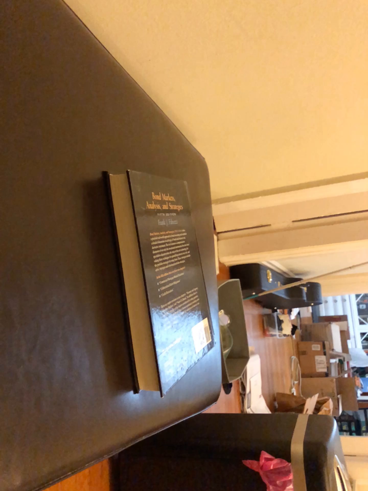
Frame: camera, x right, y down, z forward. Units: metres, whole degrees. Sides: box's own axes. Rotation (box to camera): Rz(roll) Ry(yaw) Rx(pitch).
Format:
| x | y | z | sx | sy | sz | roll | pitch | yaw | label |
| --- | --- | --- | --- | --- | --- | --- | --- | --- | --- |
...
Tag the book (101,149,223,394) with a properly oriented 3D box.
| x | y | z | sx | sy | sz | roll | pitch | yaw | label |
| --- | --- | --- | --- | --- | --- | --- | --- | --- | --- |
| -0.015 | 0.023 | 0.525 | 0.201 | 0.040 | 0.260 | -12 | 93 | -68 | book |
